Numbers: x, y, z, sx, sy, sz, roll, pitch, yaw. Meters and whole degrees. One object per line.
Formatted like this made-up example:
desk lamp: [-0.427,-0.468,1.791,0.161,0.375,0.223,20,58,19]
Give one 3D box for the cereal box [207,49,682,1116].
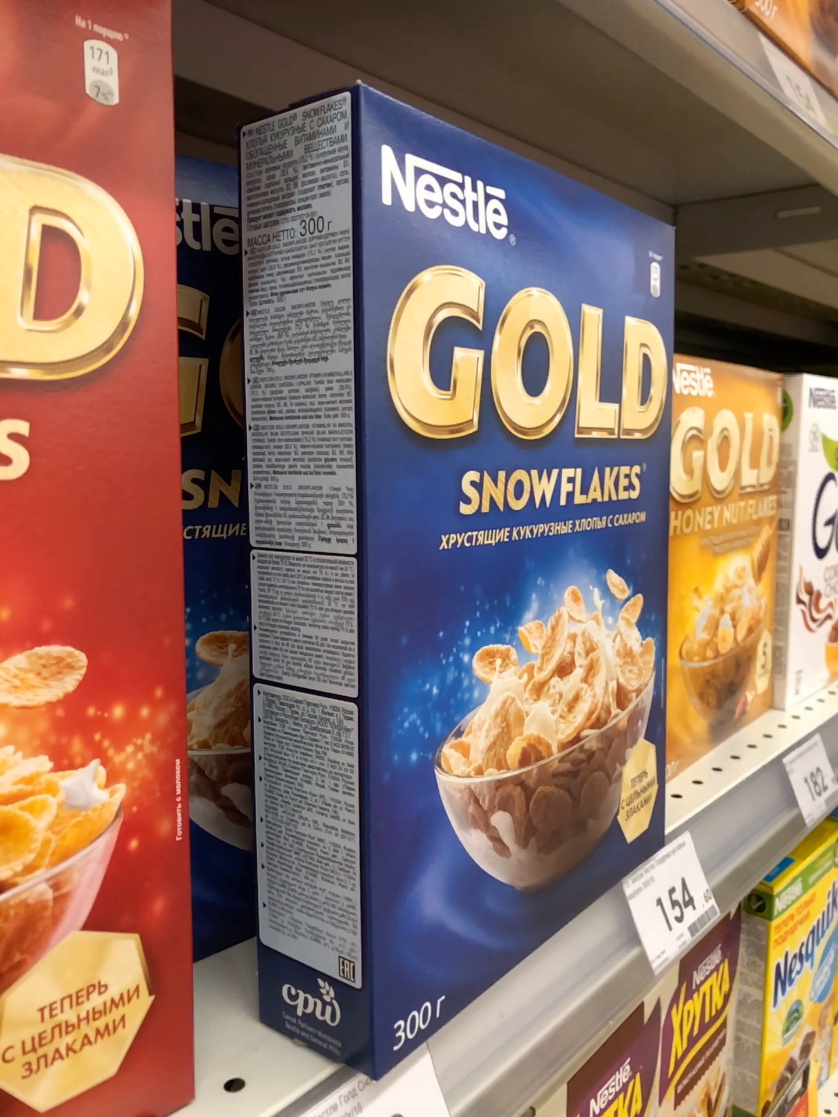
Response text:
cereal box: [0.026,0.004,0.324,0.050,0.270,0.201,4,7,38]
